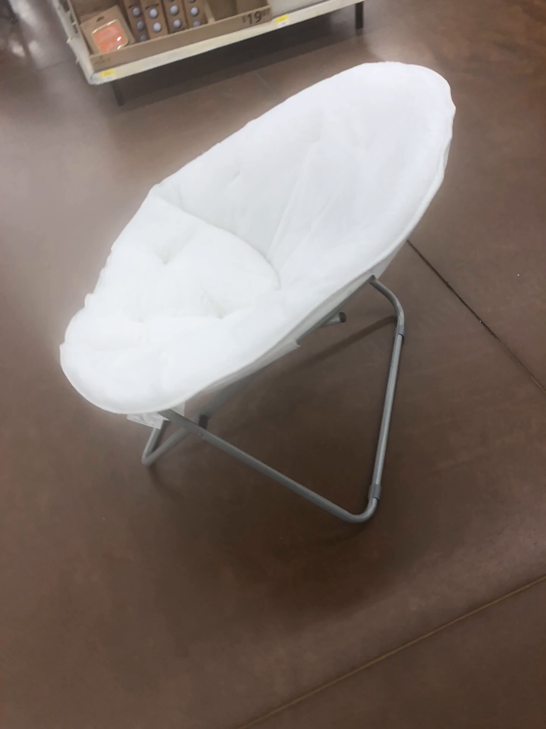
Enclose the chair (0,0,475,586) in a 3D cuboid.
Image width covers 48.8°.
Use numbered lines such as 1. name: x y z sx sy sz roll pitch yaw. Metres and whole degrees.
1. chair: -0.079 -0.159 1.103 0.751 0.648 0.762 6 52 15
